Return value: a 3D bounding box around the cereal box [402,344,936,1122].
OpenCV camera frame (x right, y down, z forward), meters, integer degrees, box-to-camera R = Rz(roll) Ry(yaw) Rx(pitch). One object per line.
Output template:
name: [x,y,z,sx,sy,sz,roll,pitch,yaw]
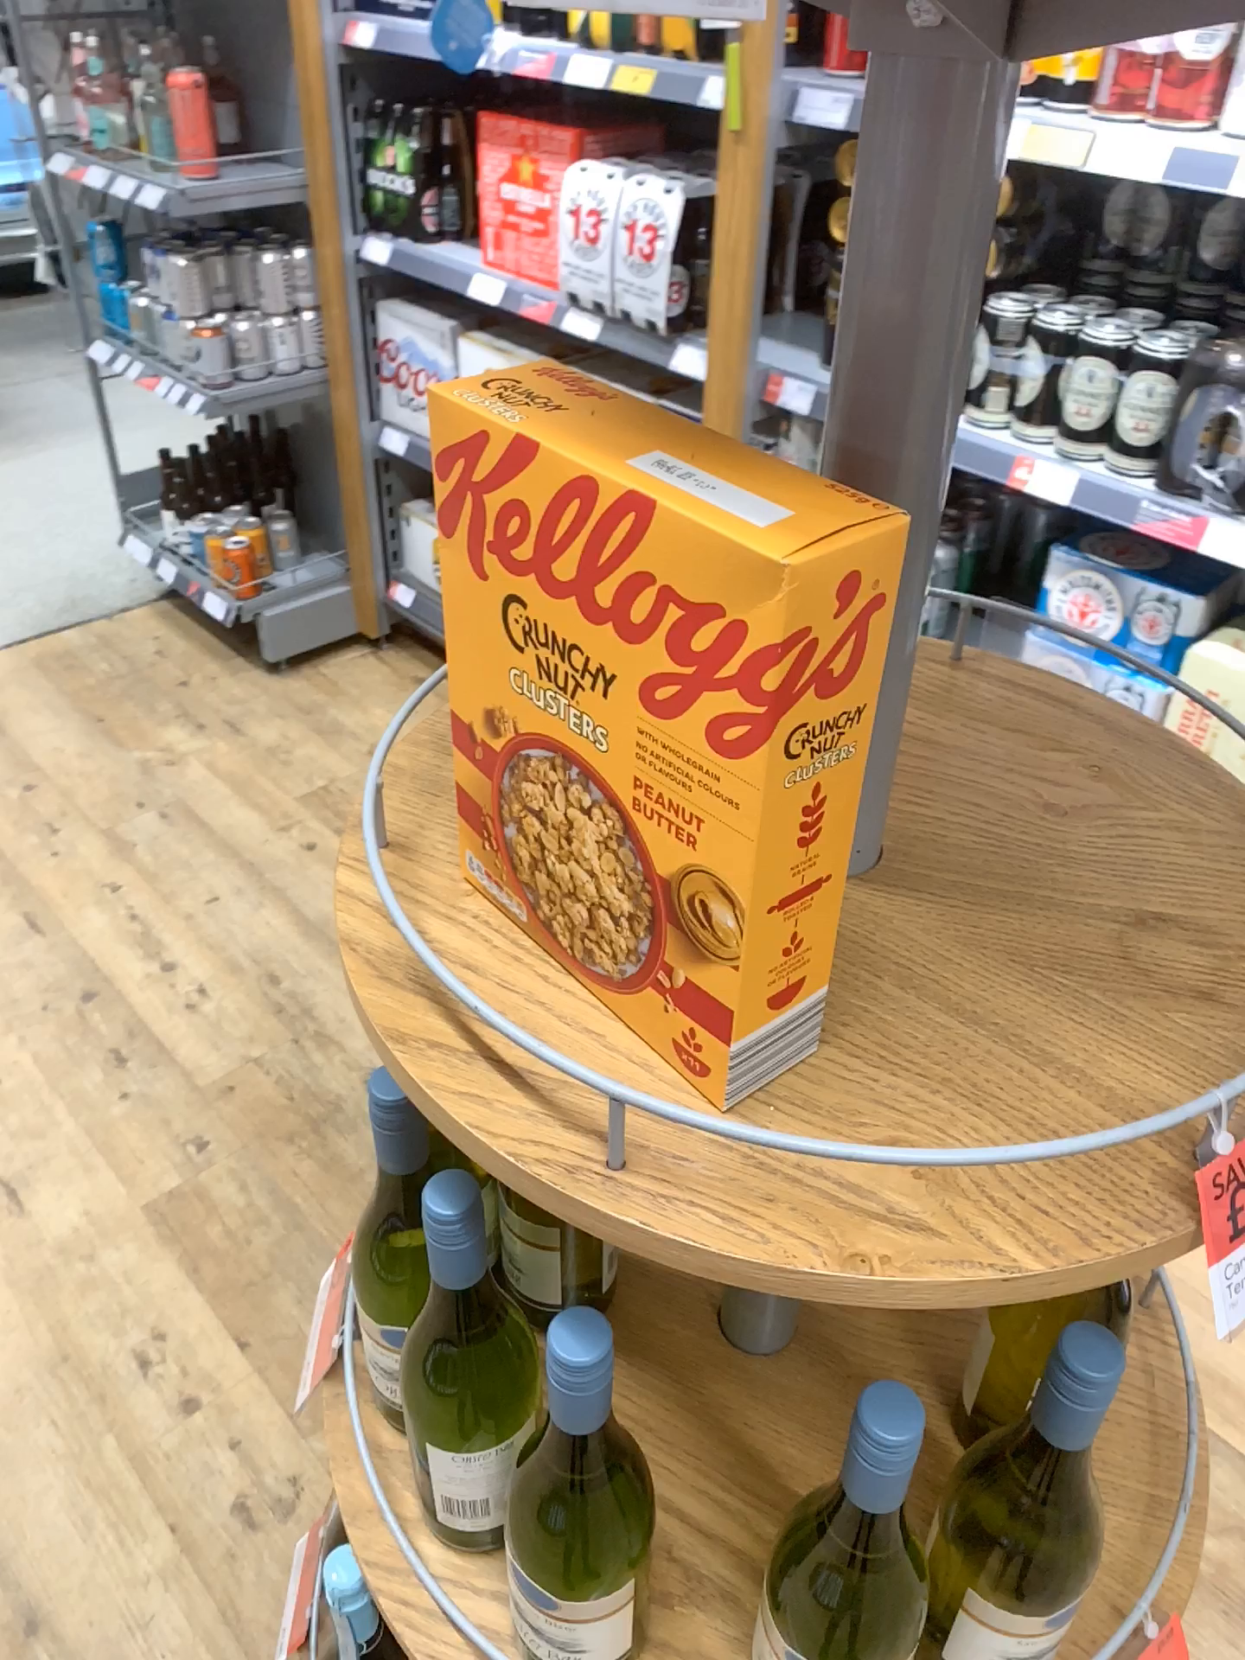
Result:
cereal box: [0.003,-0.042,0.511,0.060,0.238,0.211,-25,44,-32]
